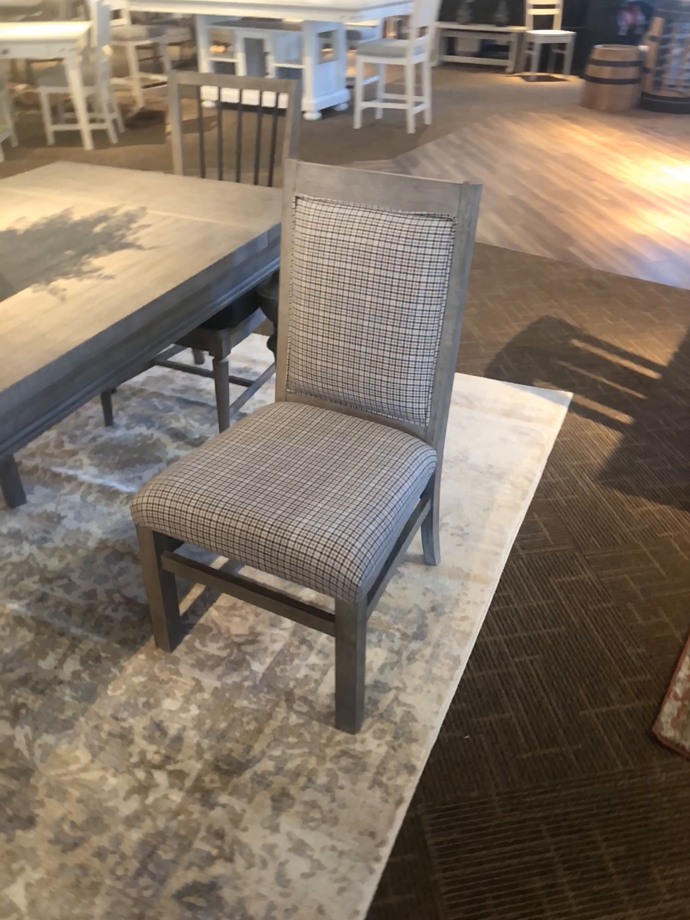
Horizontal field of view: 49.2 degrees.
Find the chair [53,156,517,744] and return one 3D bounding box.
[{"bbox_3d":[-0.057,-0.059,1.513,0.510,0.865,0.663,17,37,23],"label":"chair"}]
